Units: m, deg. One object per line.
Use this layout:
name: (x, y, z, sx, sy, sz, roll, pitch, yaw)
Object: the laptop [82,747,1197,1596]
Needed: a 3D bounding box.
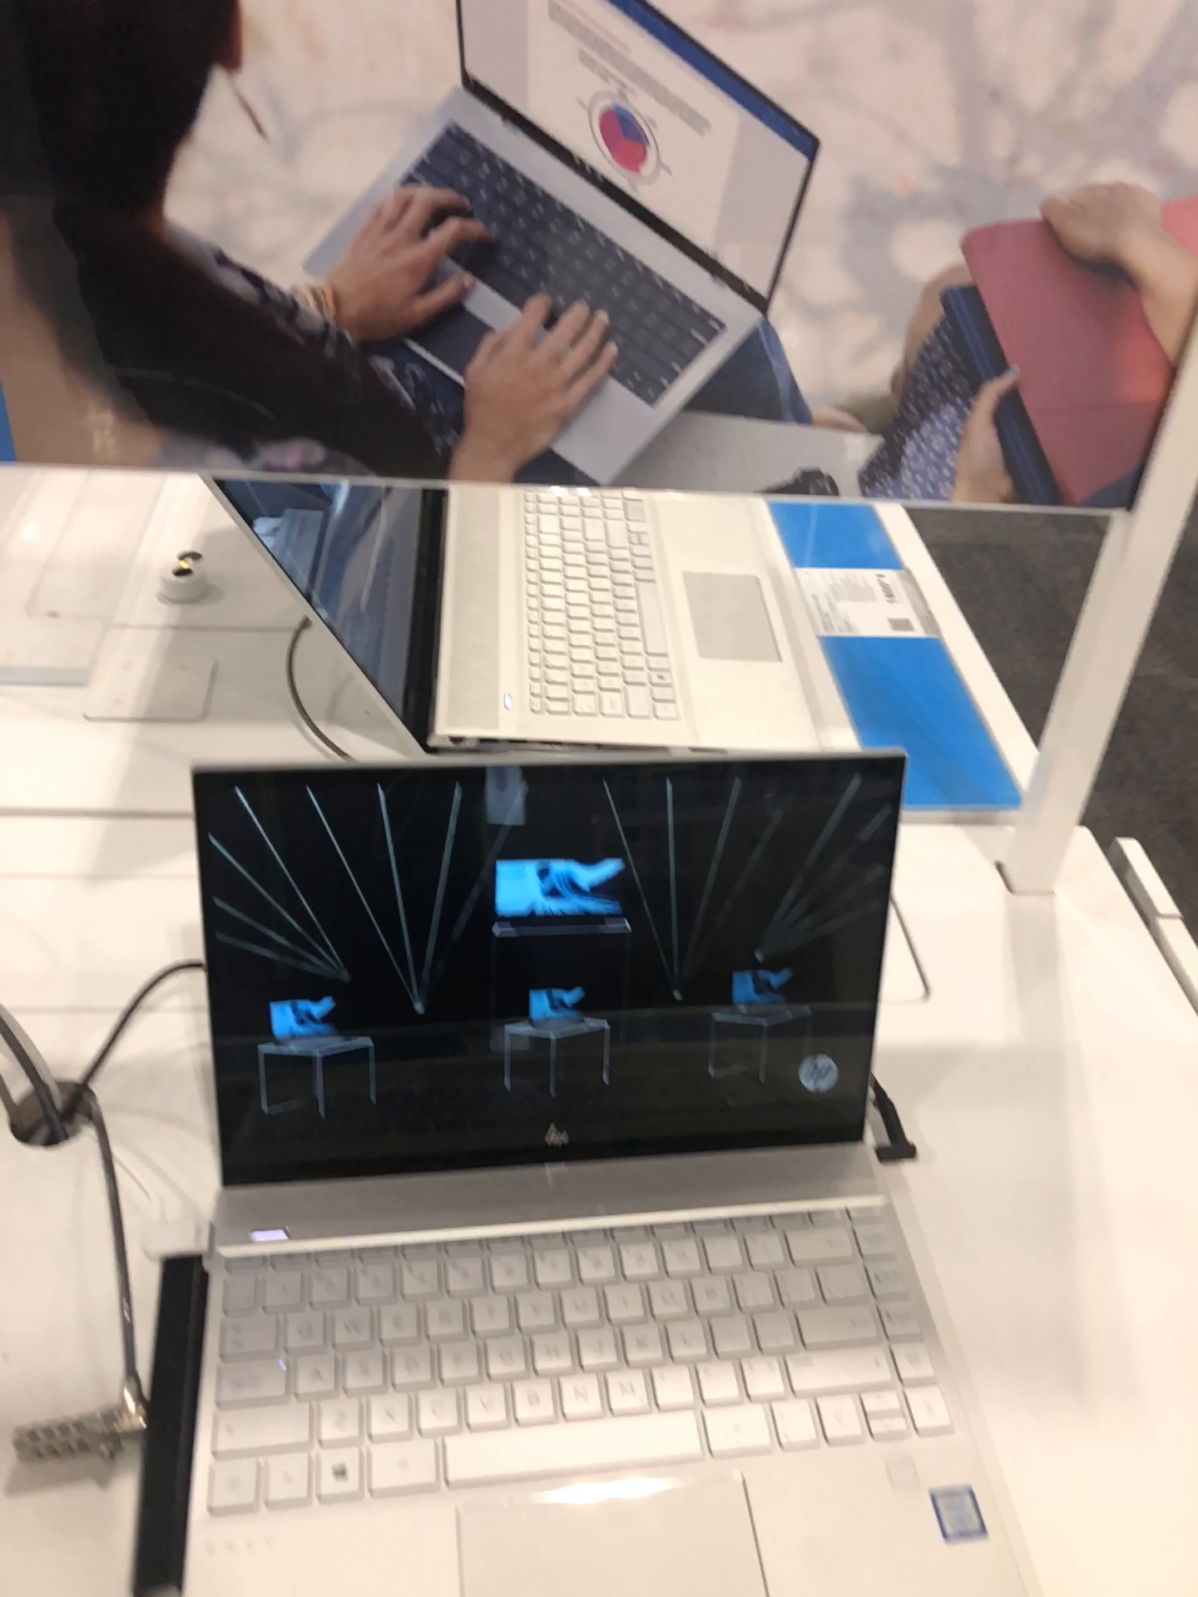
laptop: (-0.003, 0.141, 0.504, 0.298, 0.183, 0.272, -2, 40, -10)
